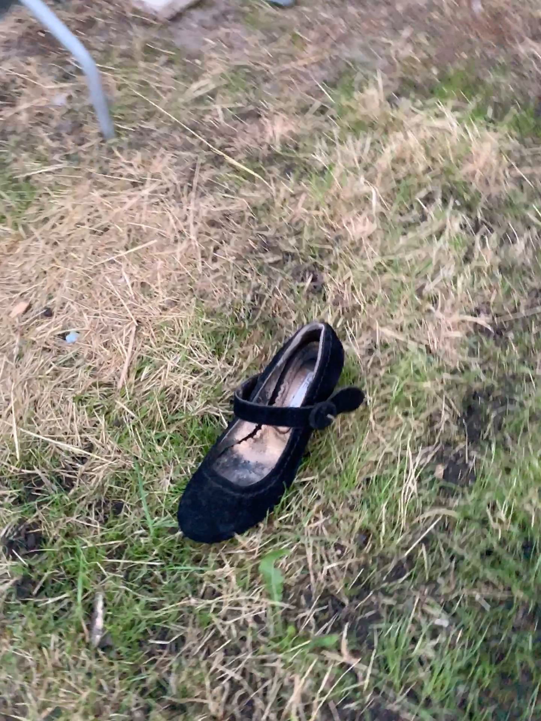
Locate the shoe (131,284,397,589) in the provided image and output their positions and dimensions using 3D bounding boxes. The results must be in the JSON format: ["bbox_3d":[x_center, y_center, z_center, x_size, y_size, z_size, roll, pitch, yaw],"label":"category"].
[{"bbox_3d":[0.003,0.066,0.529,0.110,0.109,0.251,30,63,17],"label":"shoe"}]
